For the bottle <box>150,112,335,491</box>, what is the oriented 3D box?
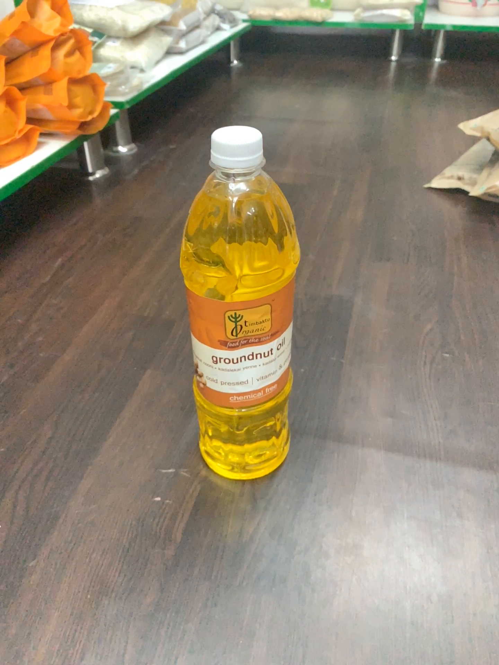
[{"bbox_3d":[-0.005,-0.004,0.355,0.090,0.259,0.070,-6,38,-6],"label":"bottle"}]
